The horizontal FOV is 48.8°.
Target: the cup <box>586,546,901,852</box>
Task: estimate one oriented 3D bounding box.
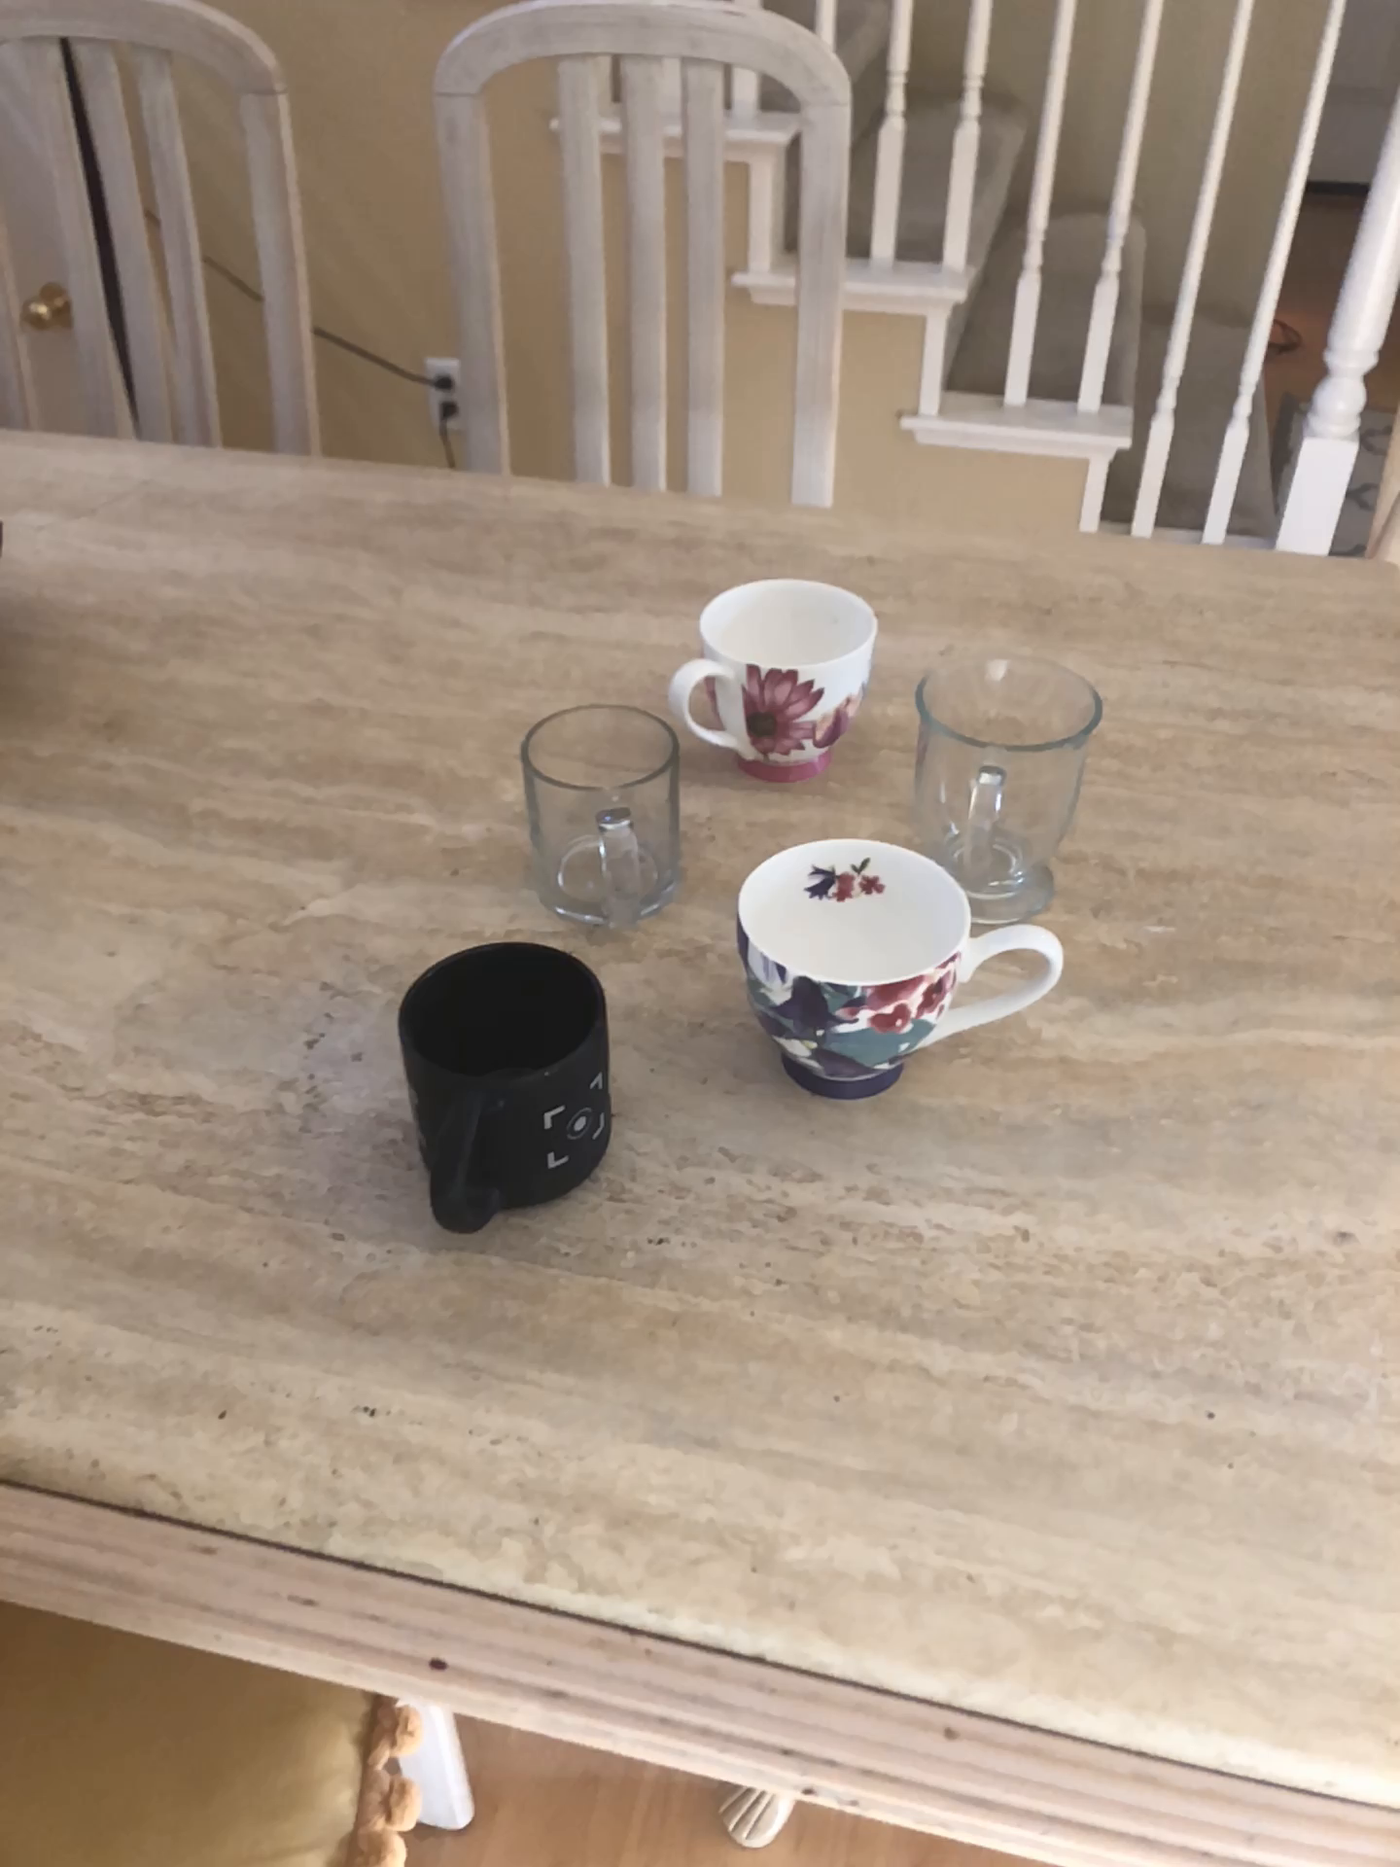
[{"bbox_3d":[0.027,-0.145,0.927,0.110,0.099,0.151,31,49,32],"label":"cup"}]

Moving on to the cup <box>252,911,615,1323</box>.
[{"bbox_3d":[-0.109,0.076,0.681,0.100,0.089,0.141,10,41,13],"label":"cup"}]

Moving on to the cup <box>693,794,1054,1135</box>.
[{"bbox_3d":[0.078,0.012,0.716,0.150,0.099,0.111,4,40,5],"label":"cup"}]

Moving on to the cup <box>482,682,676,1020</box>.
[{"bbox_3d":[-0.064,-0.045,0.819,0.090,0.119,0.131,-4,40,-4],"label":"cup"}]

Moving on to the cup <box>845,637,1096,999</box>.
[{"bbox_3d":[0.144,-0.064,0.820,0.100,0.119,0.141,10,41,13],"label":"cup"}]
